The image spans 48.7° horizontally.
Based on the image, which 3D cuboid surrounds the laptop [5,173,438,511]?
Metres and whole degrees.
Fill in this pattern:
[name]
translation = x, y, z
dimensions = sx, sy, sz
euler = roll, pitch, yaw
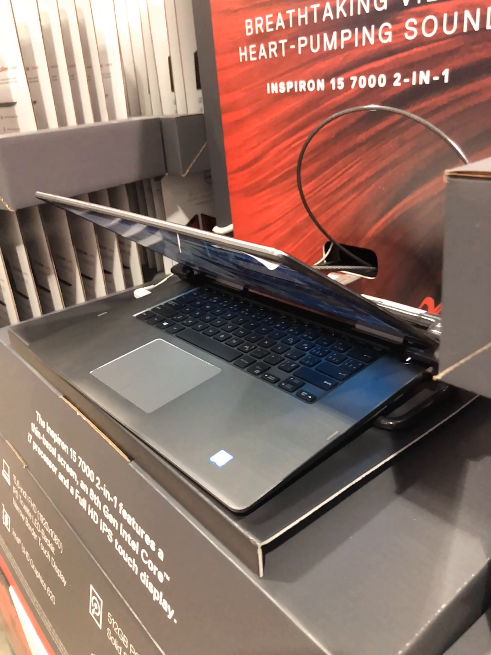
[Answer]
[laptop]
translation = -0.044, -0.037, 0.499
dimensions = 0.212, 0.137, 0.357
euler = -25, 31, -33
